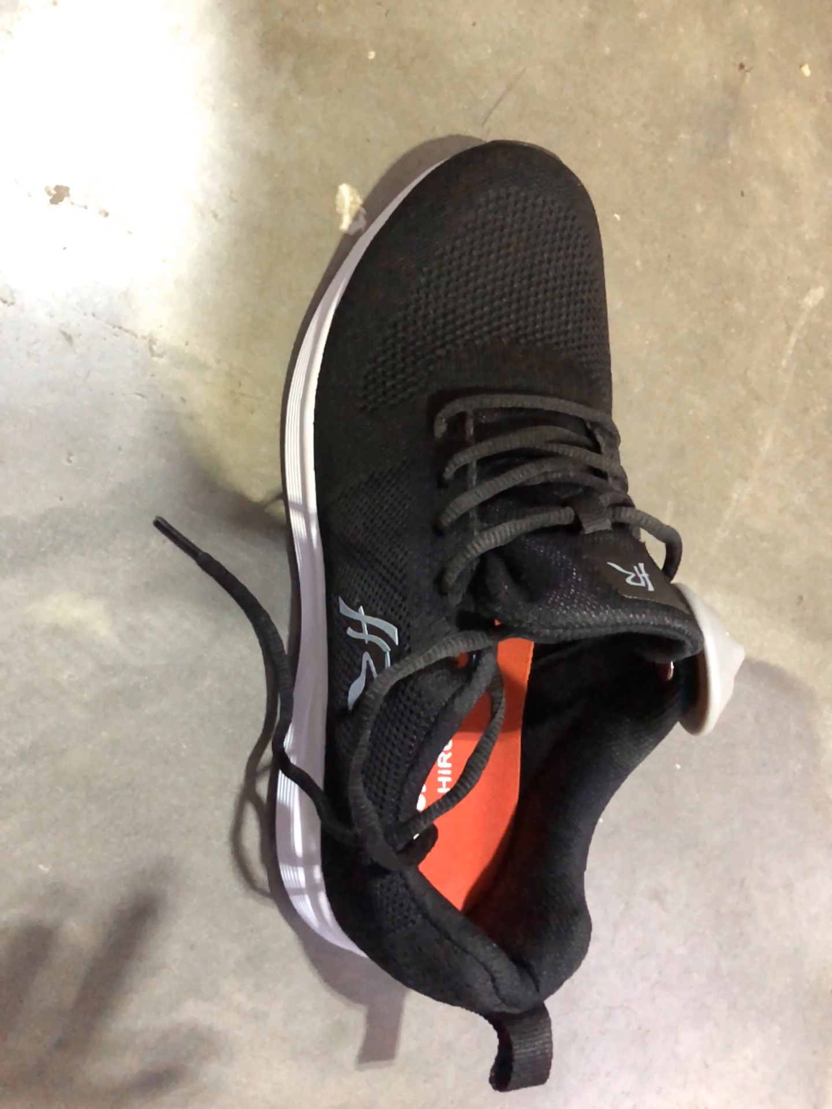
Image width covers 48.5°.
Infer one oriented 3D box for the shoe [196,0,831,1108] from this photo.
[{"bbox_3d":[0.037,0.004,0.261,0.130,0.120,0.280,10,86,-24],"label":"shoe"}]
